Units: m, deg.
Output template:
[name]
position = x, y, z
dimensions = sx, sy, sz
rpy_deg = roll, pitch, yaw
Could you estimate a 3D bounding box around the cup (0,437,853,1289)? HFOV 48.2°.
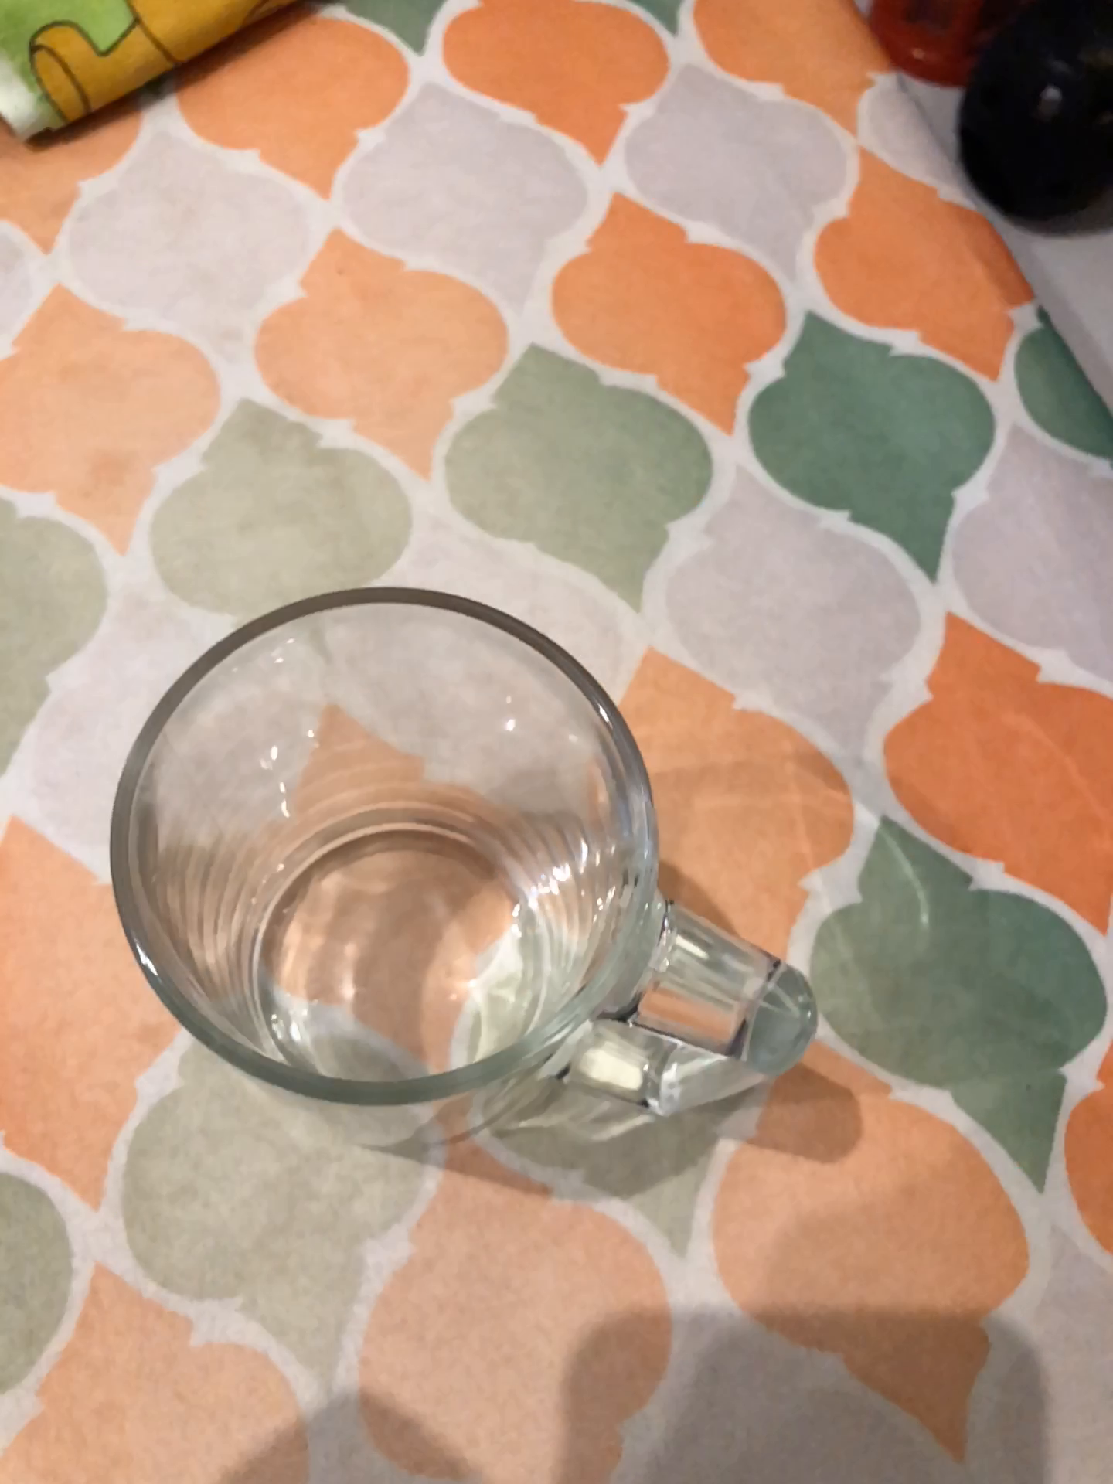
[cup]
position = -0.027, 0.028, 0.207
dimensions = 0.110, 0.100, 0.080
rpy_deg = 20, 68, 4
